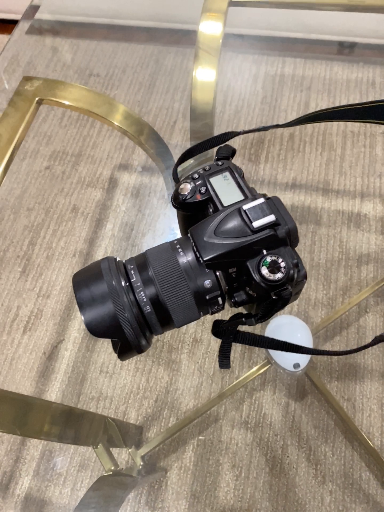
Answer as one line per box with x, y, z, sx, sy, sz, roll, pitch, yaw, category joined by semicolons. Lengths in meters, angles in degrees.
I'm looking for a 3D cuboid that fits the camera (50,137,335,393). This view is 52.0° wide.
-0.001;0.013;0.354;0.180;0.120;0.130;-24;64;-7;camera
